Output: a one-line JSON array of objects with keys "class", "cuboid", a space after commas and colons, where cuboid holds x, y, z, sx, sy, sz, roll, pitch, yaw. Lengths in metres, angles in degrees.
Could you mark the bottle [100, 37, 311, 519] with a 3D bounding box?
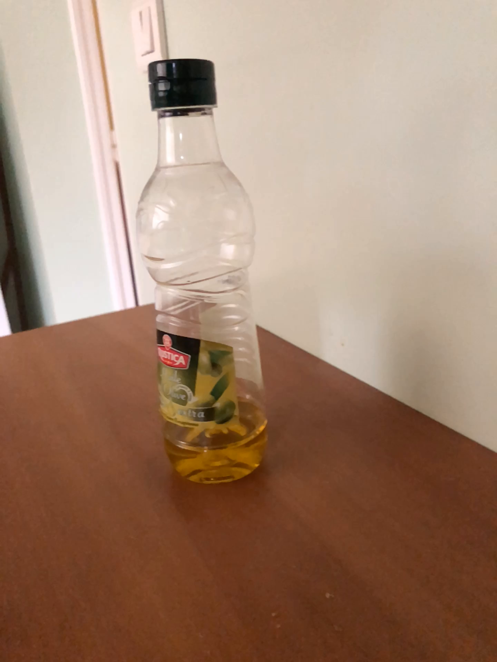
[{"class": "bottle", "cuboid": [-0.017, -0.025, 0.311, 0.070, 0.239, 0.070, -3, 20, 1]}]
